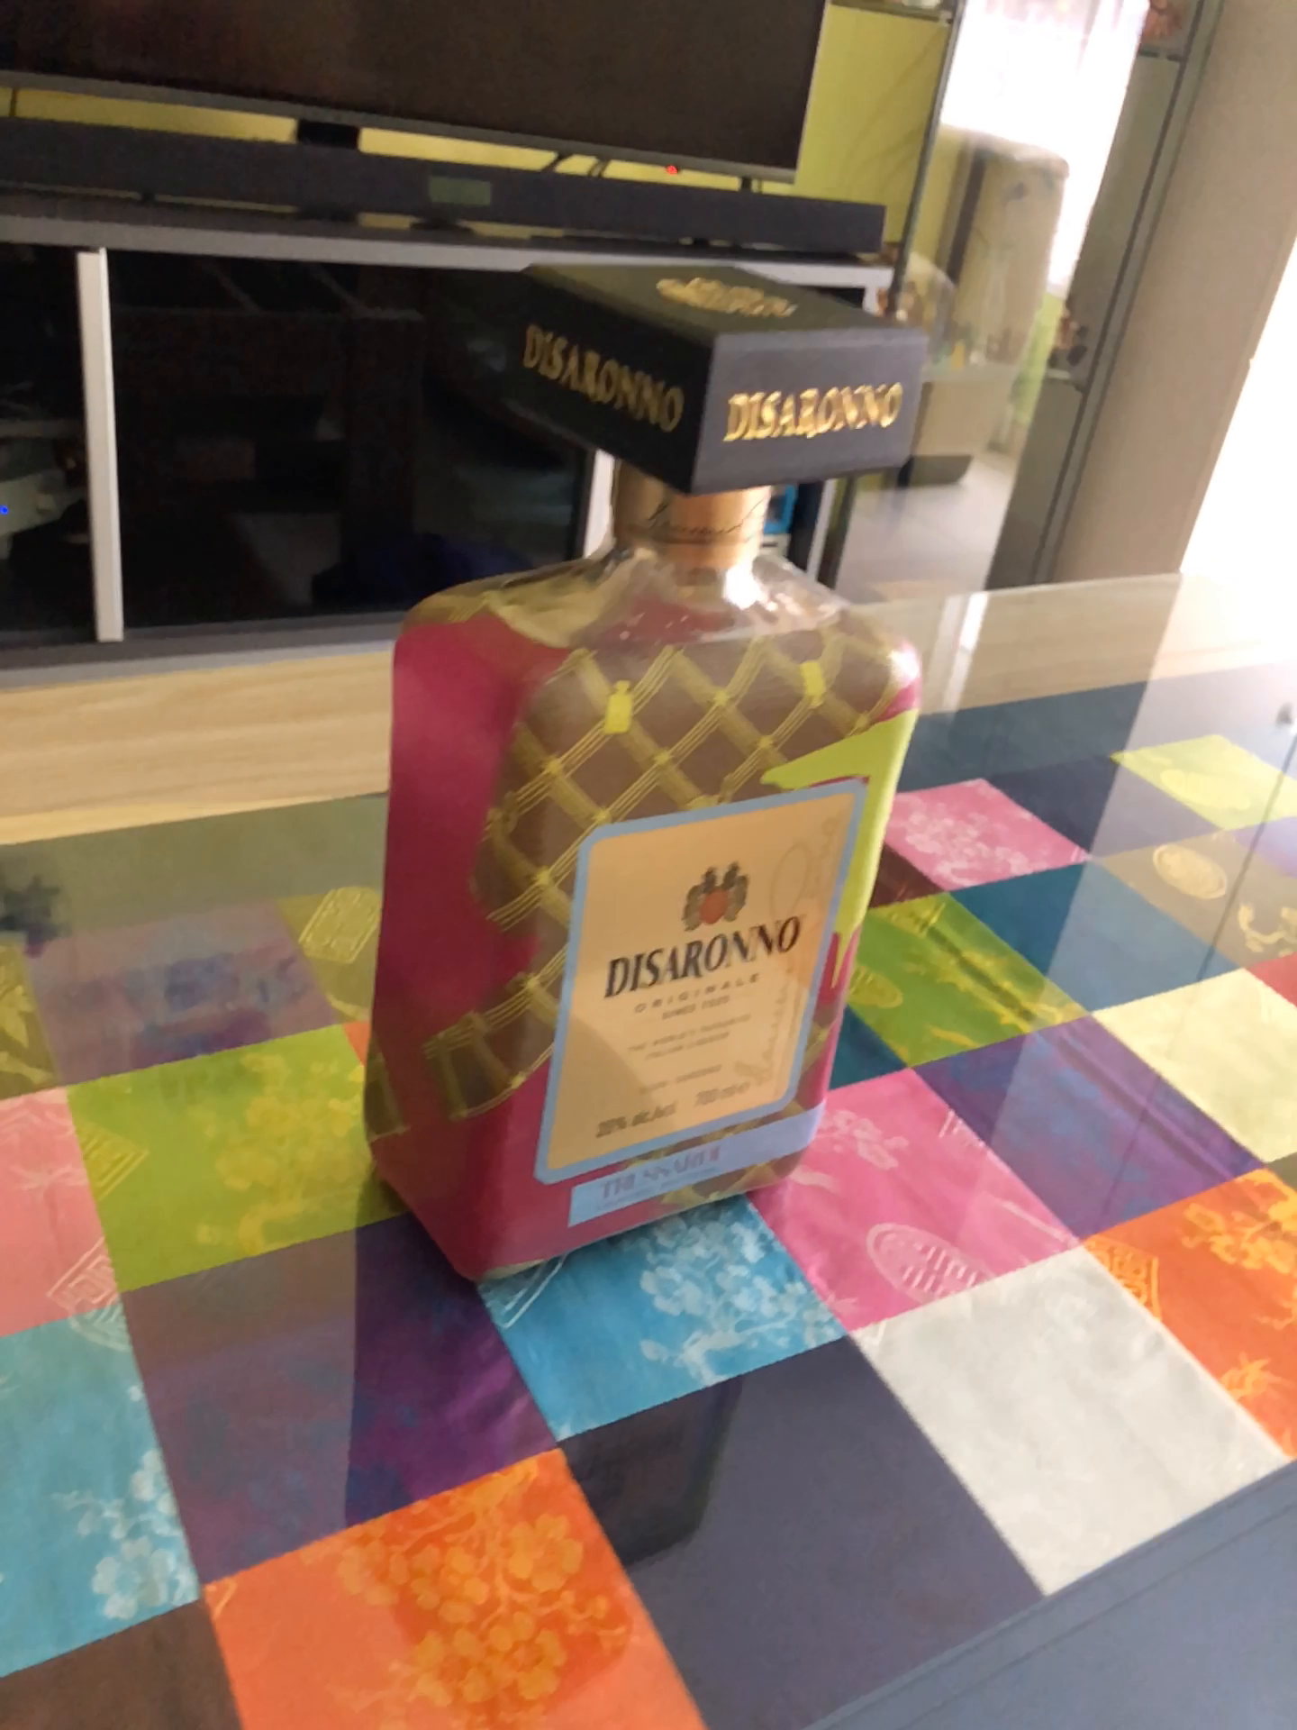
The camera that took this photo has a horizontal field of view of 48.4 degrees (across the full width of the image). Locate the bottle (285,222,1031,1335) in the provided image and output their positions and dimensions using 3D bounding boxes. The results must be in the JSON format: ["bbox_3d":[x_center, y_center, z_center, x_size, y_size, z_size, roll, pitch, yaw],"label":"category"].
[{"bbox_3d":[-0.012,-0.017,0.340,0.120,0.229,0.080,-11,36,-31],"label":"bottle"}]
